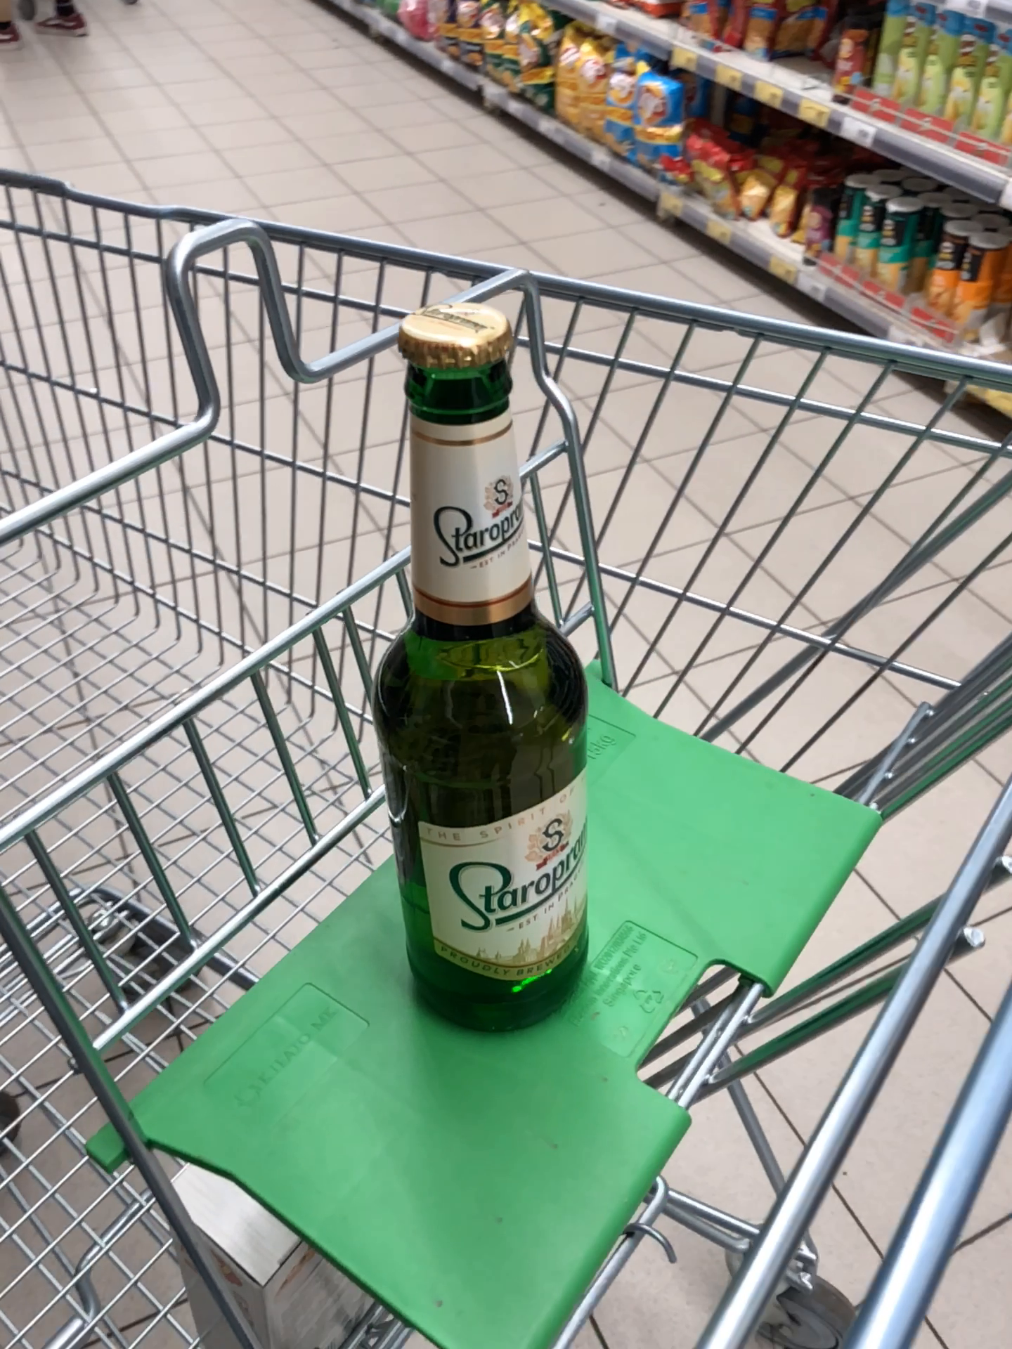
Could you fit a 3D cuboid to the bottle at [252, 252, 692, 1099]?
[{"bbox_3d":[-0.004,0.014,0.326,0.070,0.239,0.070,-1,39,1],"label":"bottle"}]
